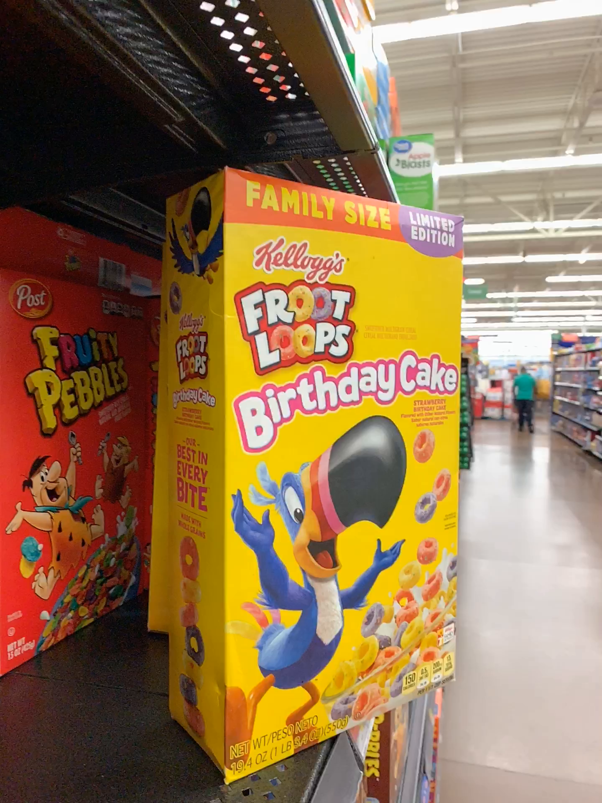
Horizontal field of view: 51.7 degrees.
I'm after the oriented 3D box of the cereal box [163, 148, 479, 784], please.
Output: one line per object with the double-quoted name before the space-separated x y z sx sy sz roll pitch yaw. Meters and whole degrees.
"cereal box" 0.020 0.032 0.413 0.200 0.330 0.080 0 2 -37
